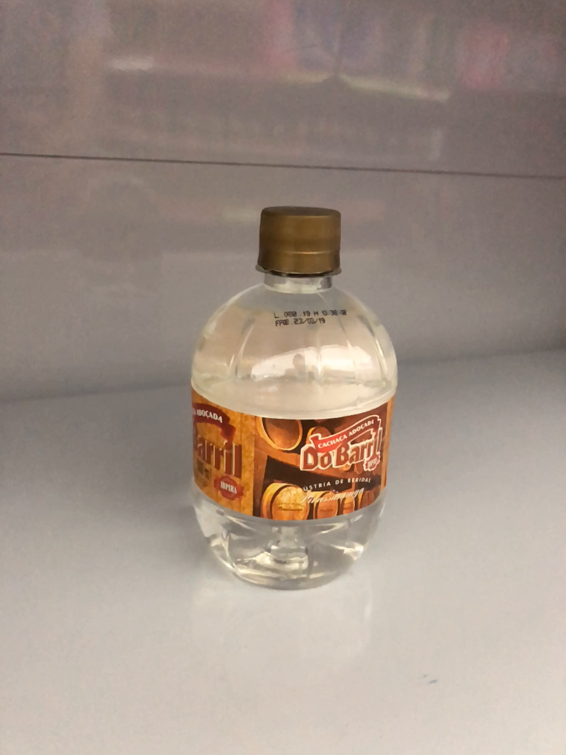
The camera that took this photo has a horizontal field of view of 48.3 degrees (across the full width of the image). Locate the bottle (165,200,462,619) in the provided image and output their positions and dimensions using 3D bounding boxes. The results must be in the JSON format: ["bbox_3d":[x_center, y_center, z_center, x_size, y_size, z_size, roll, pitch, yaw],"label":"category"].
[{"bbox_3d":[0.005,0.004,0.258,0.080,0.139,0.080,2,20,-1],"label":"bottle"}]
